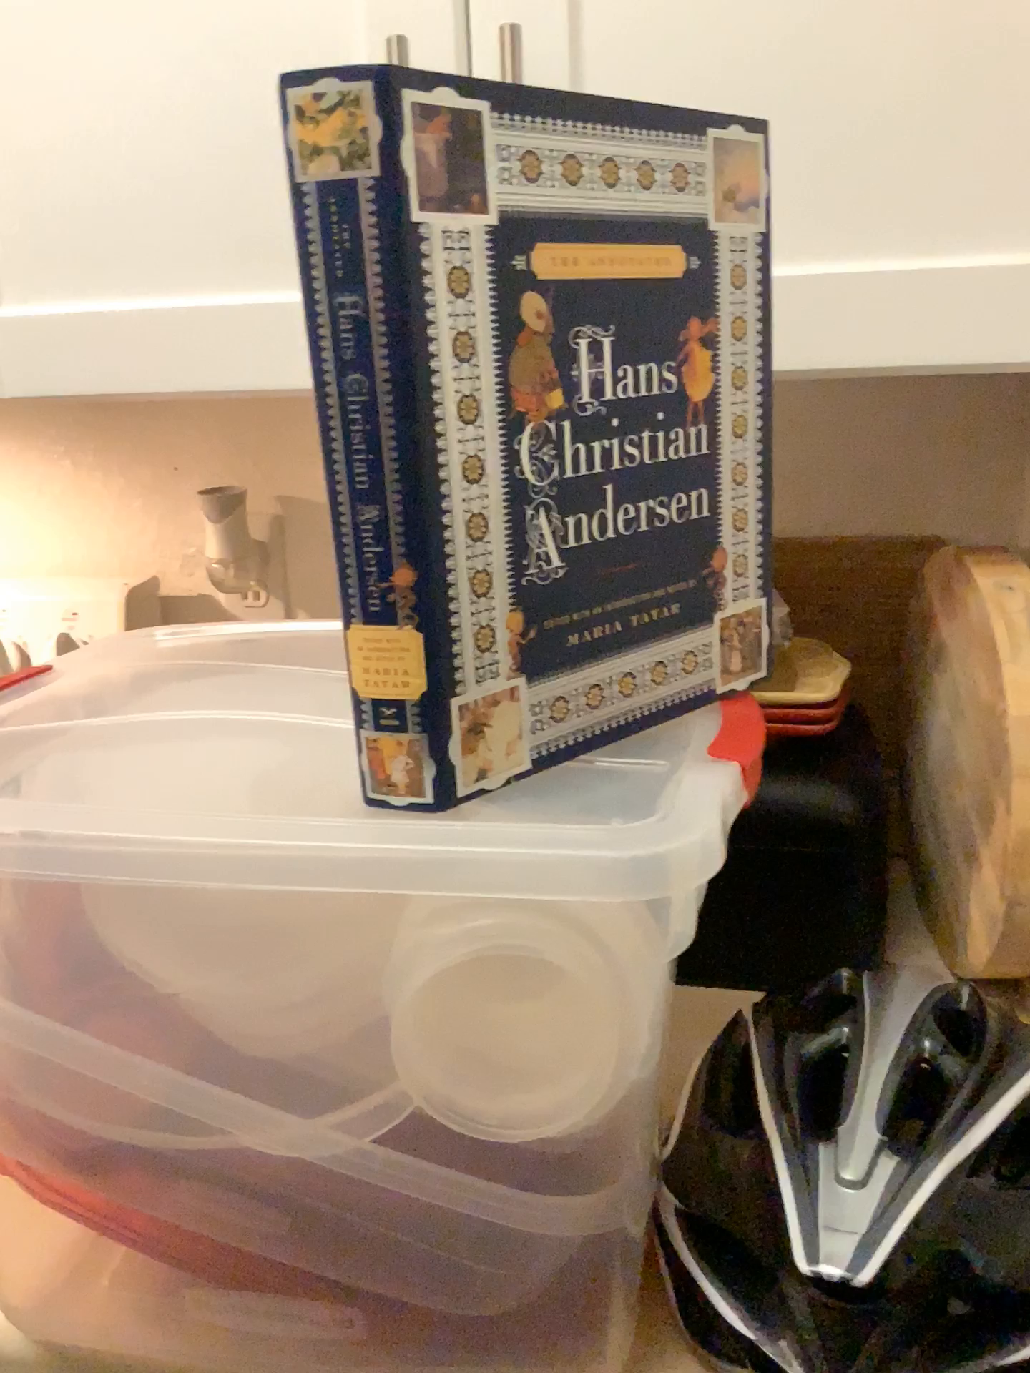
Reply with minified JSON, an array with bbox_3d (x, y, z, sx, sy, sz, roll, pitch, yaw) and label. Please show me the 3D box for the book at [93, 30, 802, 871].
[{"bbox_3d":[-0.003,-0.105,0.506,0.200,0.260,0.250,6,19,22],"label":"book"}]
